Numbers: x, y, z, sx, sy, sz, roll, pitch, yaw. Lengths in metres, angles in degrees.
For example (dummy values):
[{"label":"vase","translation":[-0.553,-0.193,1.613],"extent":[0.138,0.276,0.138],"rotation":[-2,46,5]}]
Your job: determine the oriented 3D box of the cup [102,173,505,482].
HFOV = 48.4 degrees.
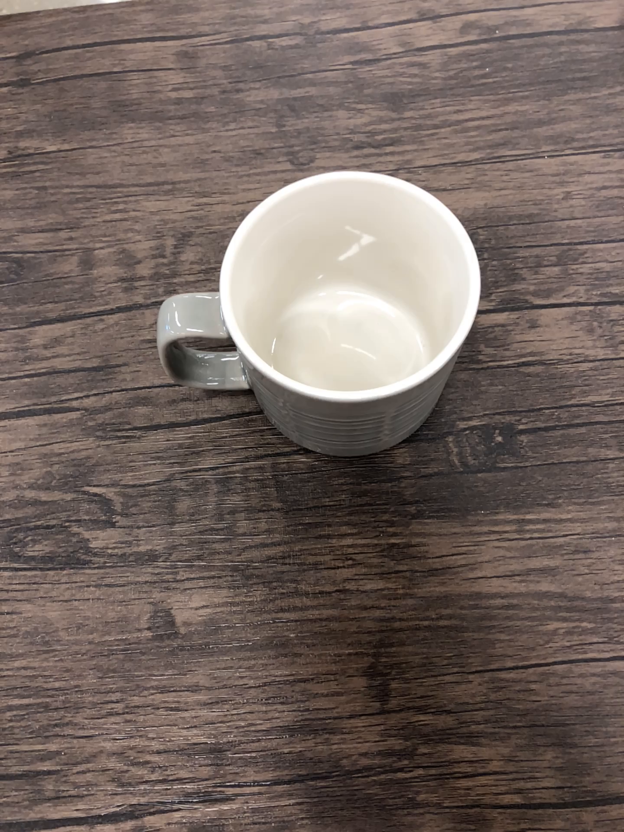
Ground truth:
[{"label":"cup","translation":[0.000,-0.033,0.300],"extent":[0.140,0.090,0.100],"rotation":[2,71,3]}]
